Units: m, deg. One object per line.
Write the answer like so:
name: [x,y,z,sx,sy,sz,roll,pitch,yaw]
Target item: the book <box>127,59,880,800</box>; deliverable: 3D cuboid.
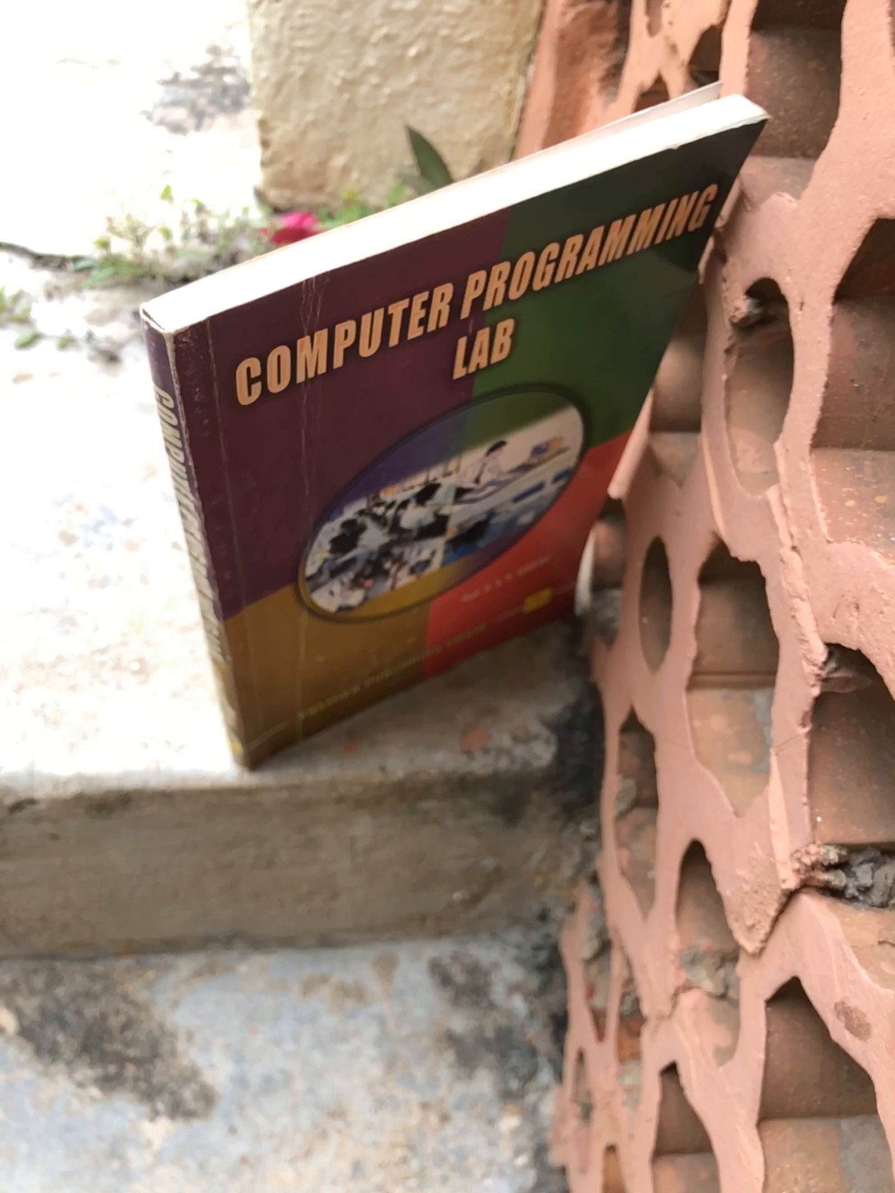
book: [0.006,-0.027,0.321,0.180,0.249,0.020,-27,68,-21]
